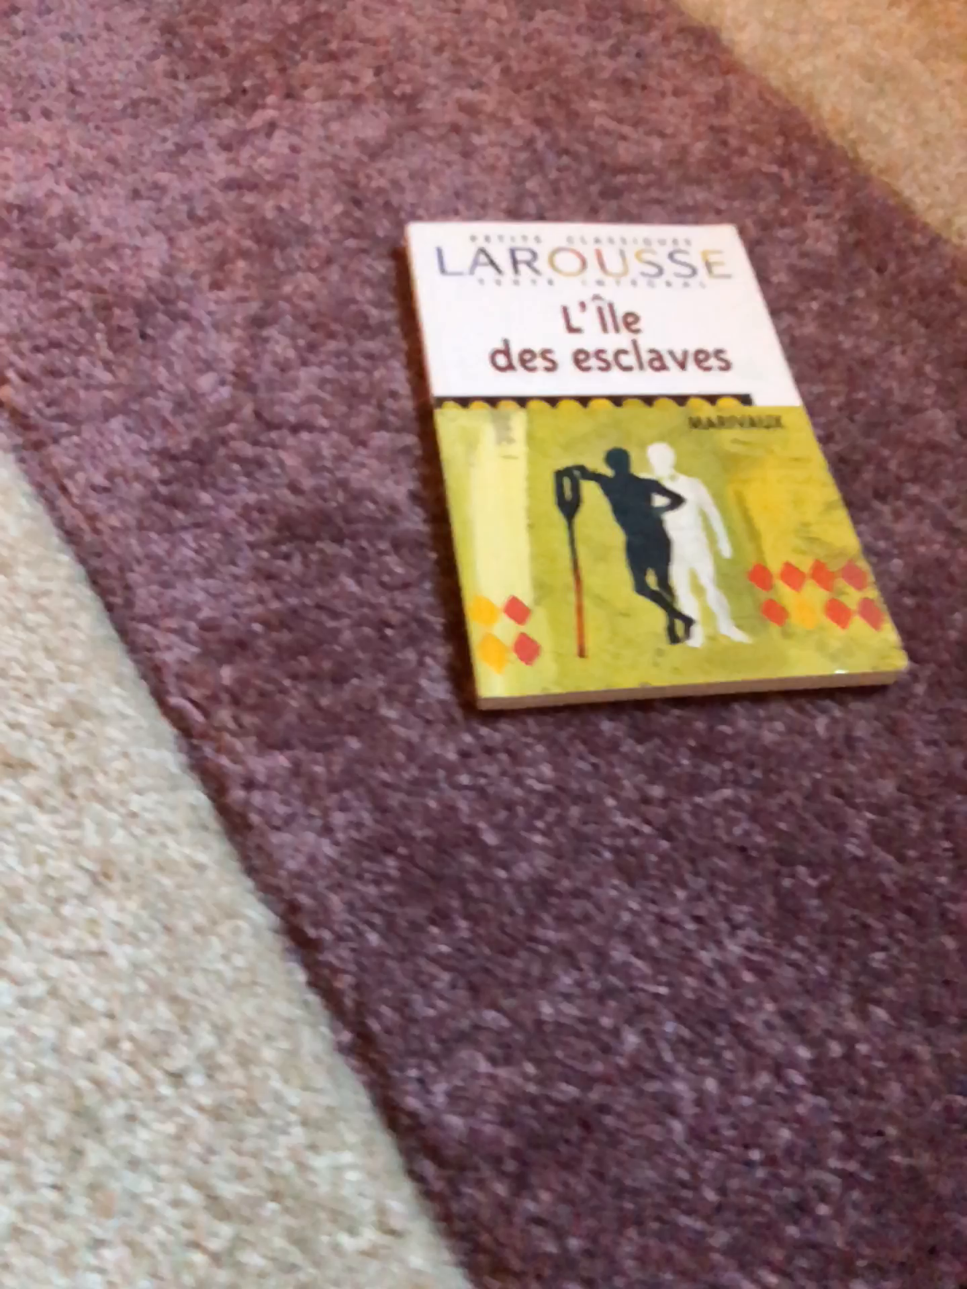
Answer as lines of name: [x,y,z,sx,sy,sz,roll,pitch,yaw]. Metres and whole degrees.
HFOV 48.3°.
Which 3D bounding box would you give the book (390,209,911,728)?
book: [0.037,-0.059,0.303,0.110,0.020,0.167,-3,59,-11]
